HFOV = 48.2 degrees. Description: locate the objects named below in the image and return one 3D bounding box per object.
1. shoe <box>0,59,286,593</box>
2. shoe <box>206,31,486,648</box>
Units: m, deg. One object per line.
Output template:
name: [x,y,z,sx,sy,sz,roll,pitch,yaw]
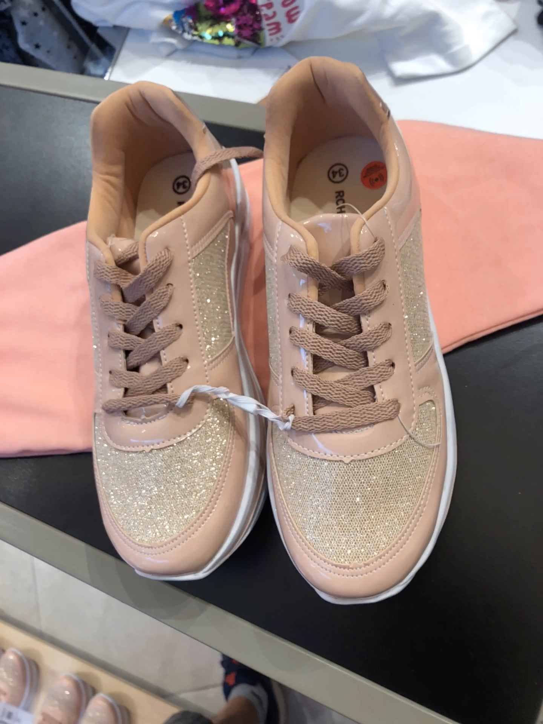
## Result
shoe: [-0.051,-0.011,0.298,0.090,0.100,0.220,-4,76,16]
shoe: [0.033,-0.008,0.262,0.090,0.090,0.220,-4,76,16]
